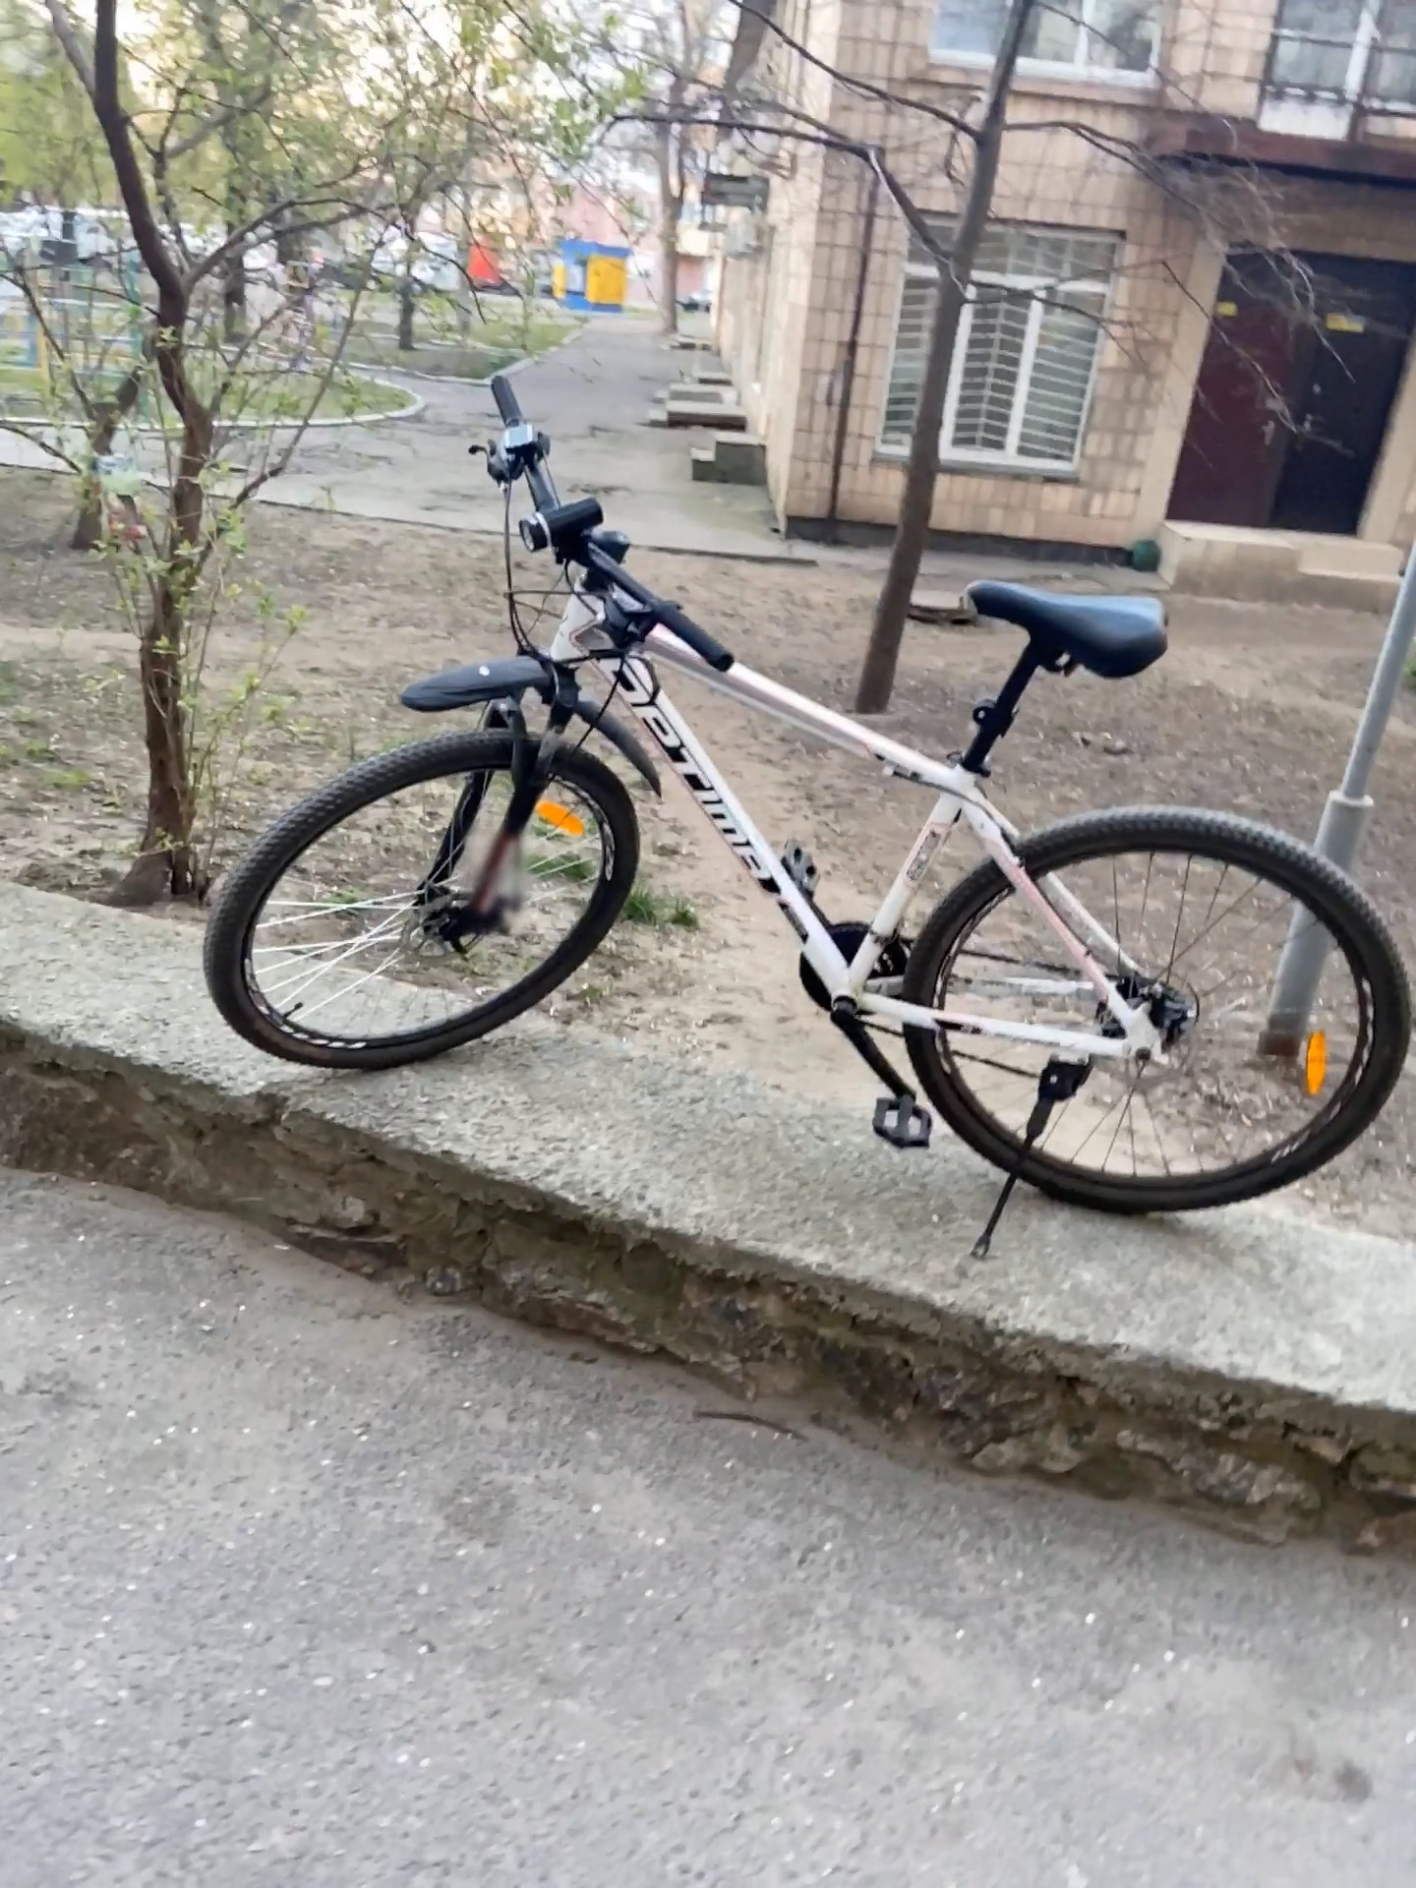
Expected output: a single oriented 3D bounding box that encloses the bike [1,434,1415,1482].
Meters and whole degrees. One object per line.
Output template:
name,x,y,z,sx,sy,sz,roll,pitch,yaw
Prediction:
bike,0.147,-0.021,1.974,1.750,1.144,0.682,5,24,3
